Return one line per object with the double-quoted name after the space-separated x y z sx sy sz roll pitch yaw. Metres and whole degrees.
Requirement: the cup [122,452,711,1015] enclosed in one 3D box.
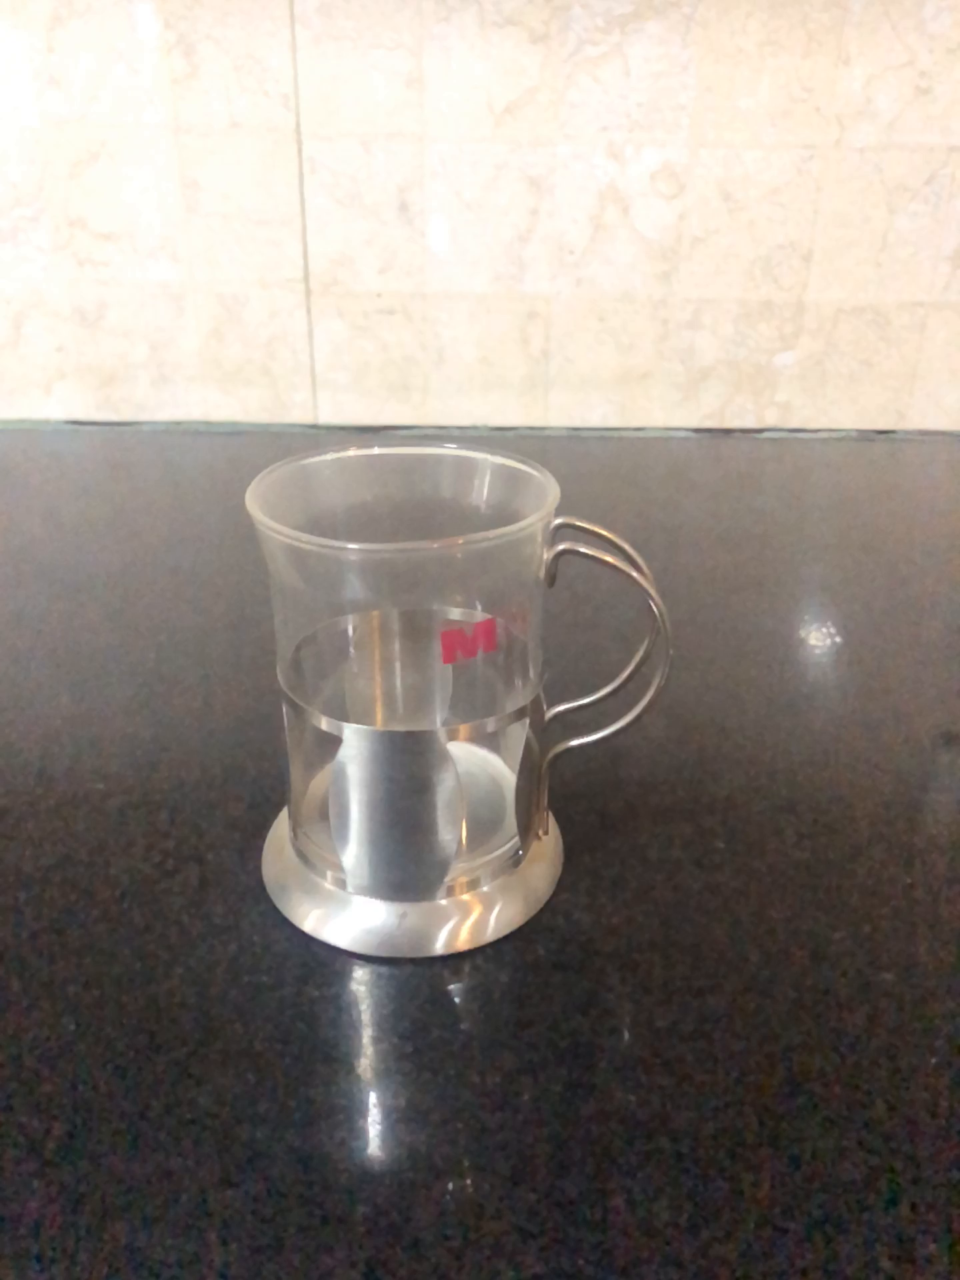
-0.013 0.020 0.260 0.110 0.109 0.081 0 27 -1 "cup"
